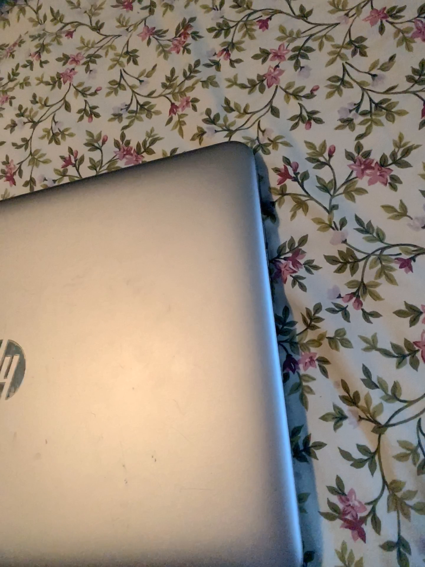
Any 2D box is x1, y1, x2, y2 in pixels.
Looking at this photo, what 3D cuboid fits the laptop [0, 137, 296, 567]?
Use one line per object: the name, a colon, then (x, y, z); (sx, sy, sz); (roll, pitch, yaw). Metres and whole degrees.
laptop: (-0.132, 0.051, 0.274); (0.336, 0.010, 0.228); (-10, 71, 16)
